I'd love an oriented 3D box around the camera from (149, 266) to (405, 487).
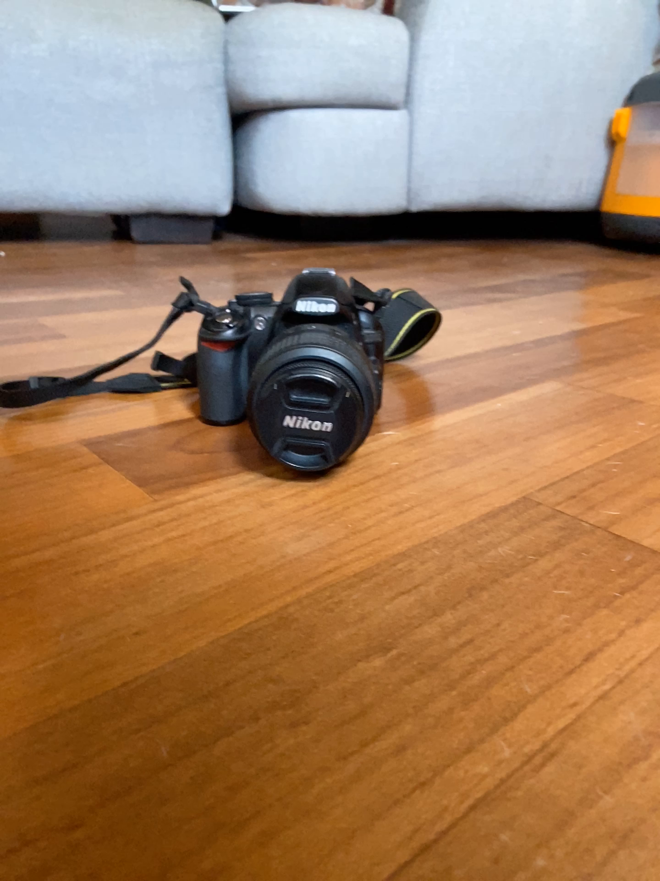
[{"bbox_3d":[-0.026,-0.048,0.413,0.120,0.090,0.162,1,21,0],"label":"camera"}]
